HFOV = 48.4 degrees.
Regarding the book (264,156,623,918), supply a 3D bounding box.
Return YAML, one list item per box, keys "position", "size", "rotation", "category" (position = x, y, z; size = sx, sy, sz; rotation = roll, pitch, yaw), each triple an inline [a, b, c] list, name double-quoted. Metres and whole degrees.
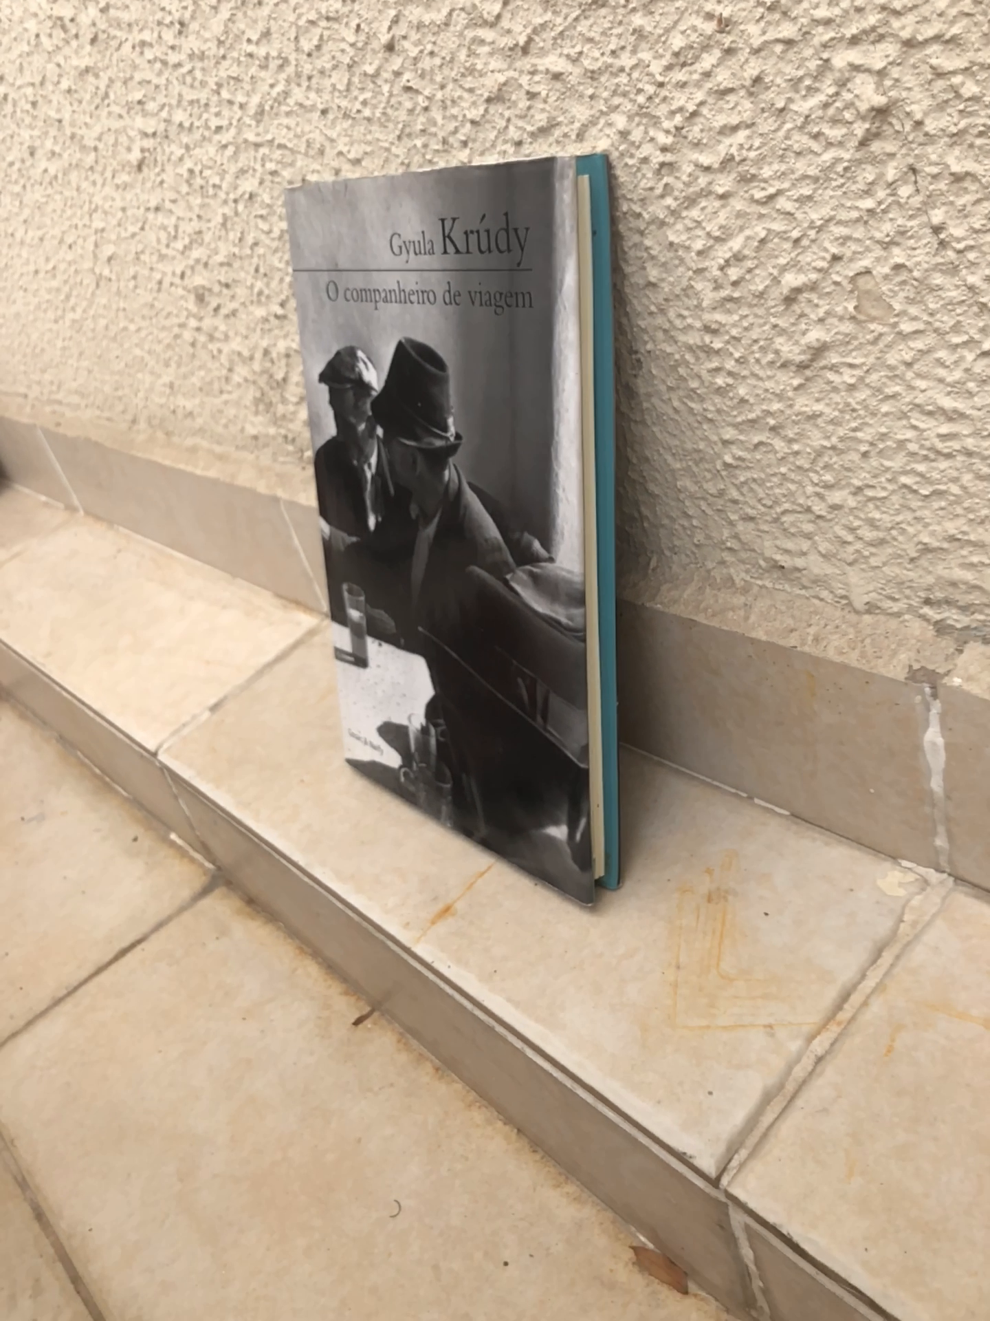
- position: [-0.017, -0.040, 0.342]
  size: [0.019, 0.204, 0.138]
  rotation: [-19, 27, -36]
  category: "book"
